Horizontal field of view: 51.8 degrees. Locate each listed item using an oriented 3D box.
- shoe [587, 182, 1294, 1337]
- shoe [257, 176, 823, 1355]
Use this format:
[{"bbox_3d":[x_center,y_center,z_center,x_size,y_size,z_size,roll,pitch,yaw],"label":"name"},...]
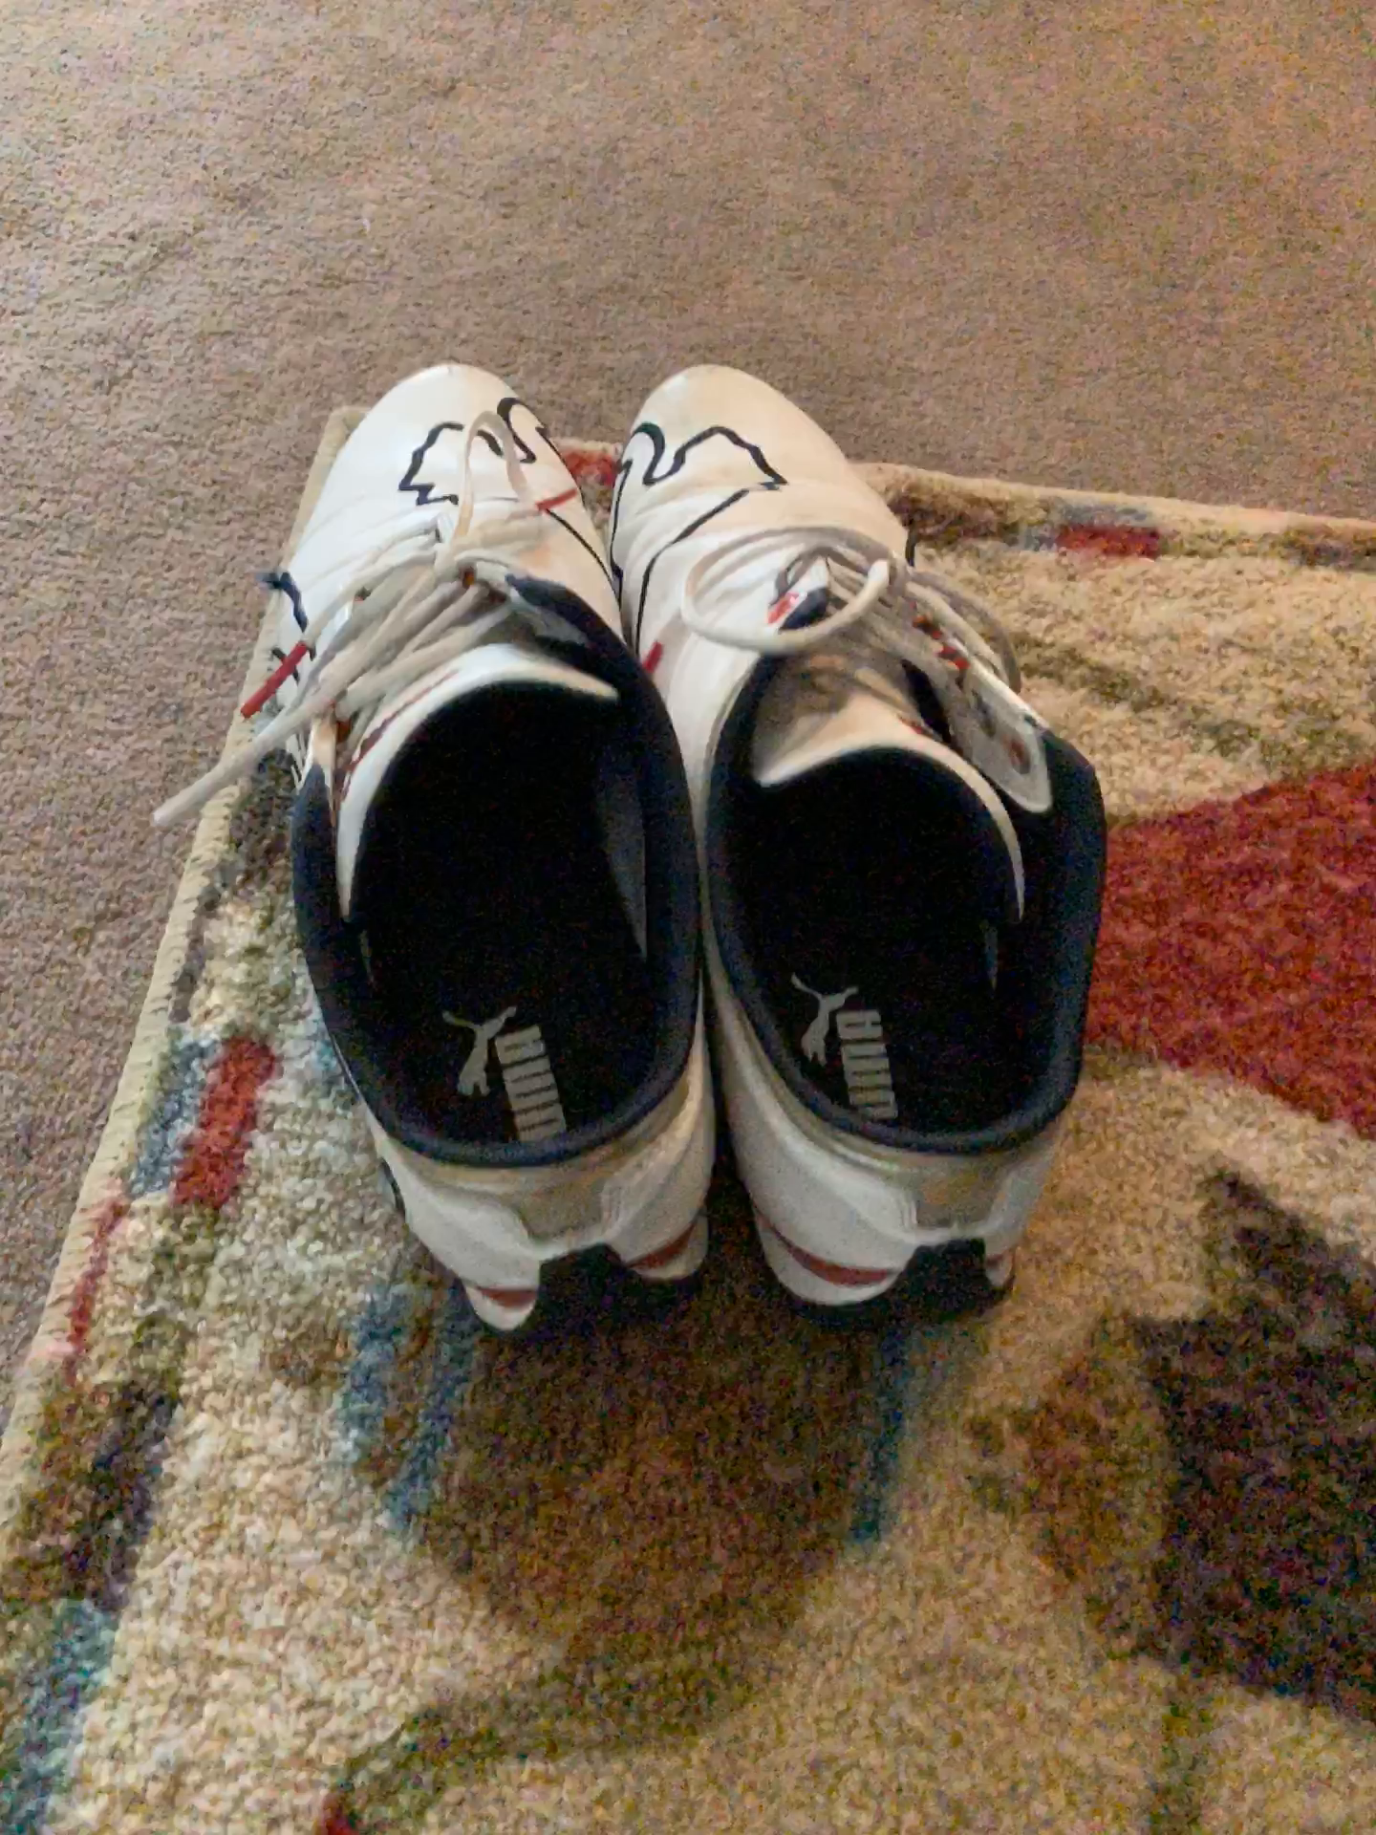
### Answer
[{"bbox_3d":[0.041,-0.055,0.368,0.100,0.089,0.292,-6,62,-8],"label":"shoe"},{"bbox_3d":[-0.049,-0.052,0.367,0.100,0.099,0.292,-6,62,-8],"label":"shoe"}]
